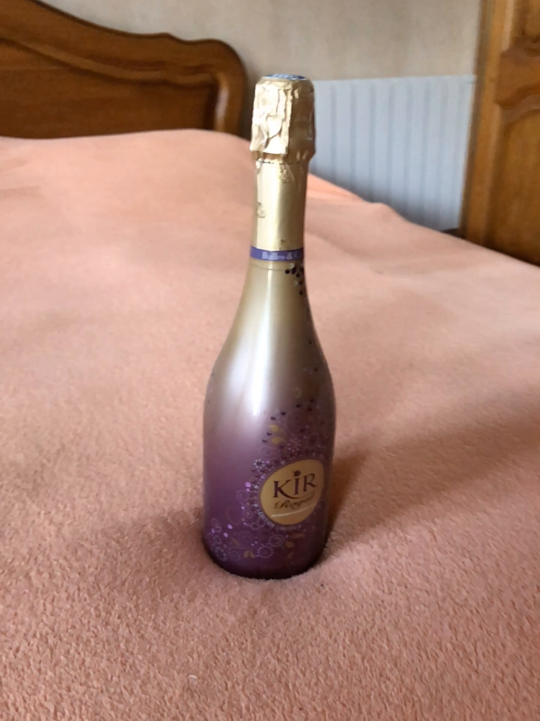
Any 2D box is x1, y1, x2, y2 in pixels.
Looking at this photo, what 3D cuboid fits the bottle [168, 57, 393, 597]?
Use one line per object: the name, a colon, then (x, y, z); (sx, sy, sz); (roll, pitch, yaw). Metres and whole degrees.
bottle: (0.001, -0.014, 0.375); (0.090, 0.308, 0.090); (0, 24, 0)
